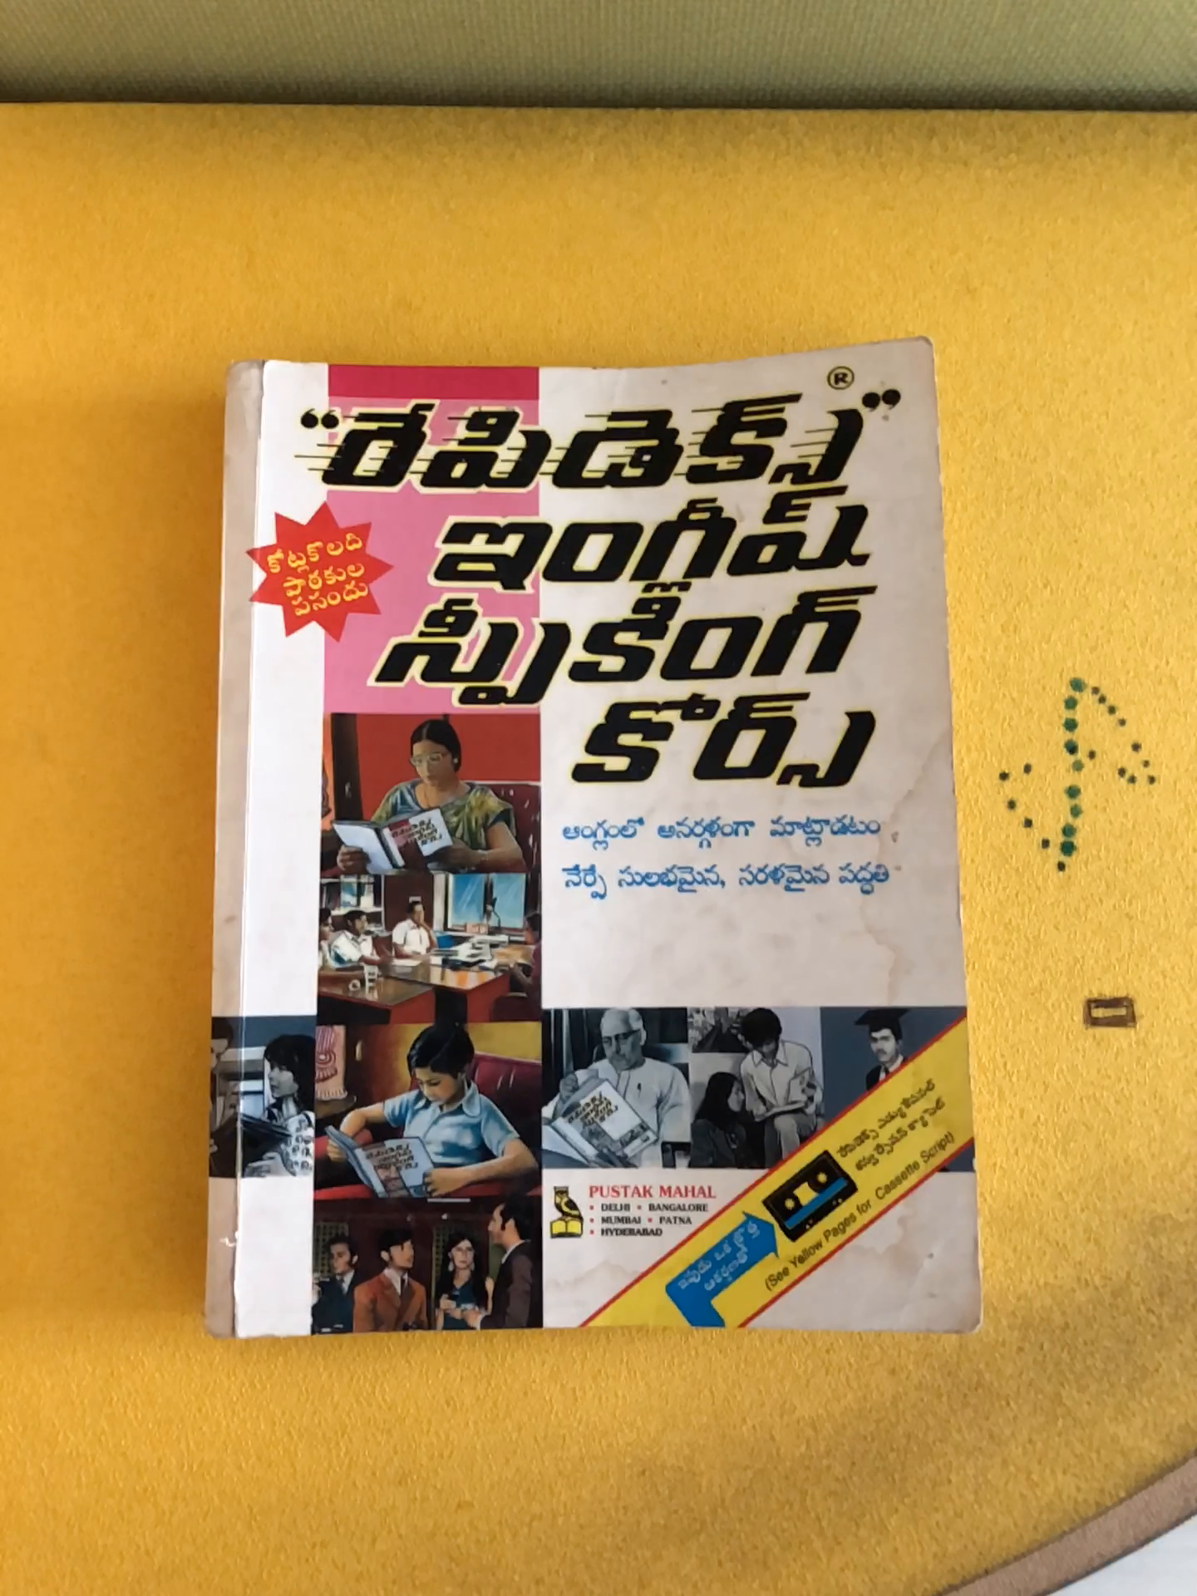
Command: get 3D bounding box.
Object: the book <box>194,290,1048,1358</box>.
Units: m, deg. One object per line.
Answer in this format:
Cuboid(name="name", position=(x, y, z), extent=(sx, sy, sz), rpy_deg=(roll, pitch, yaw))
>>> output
Cuboid(name="book", position=(0.002, 0.000, 0.327), extent=(0.190, 0.030, 0.250), rpy_deg=(-1, 82, -1))
